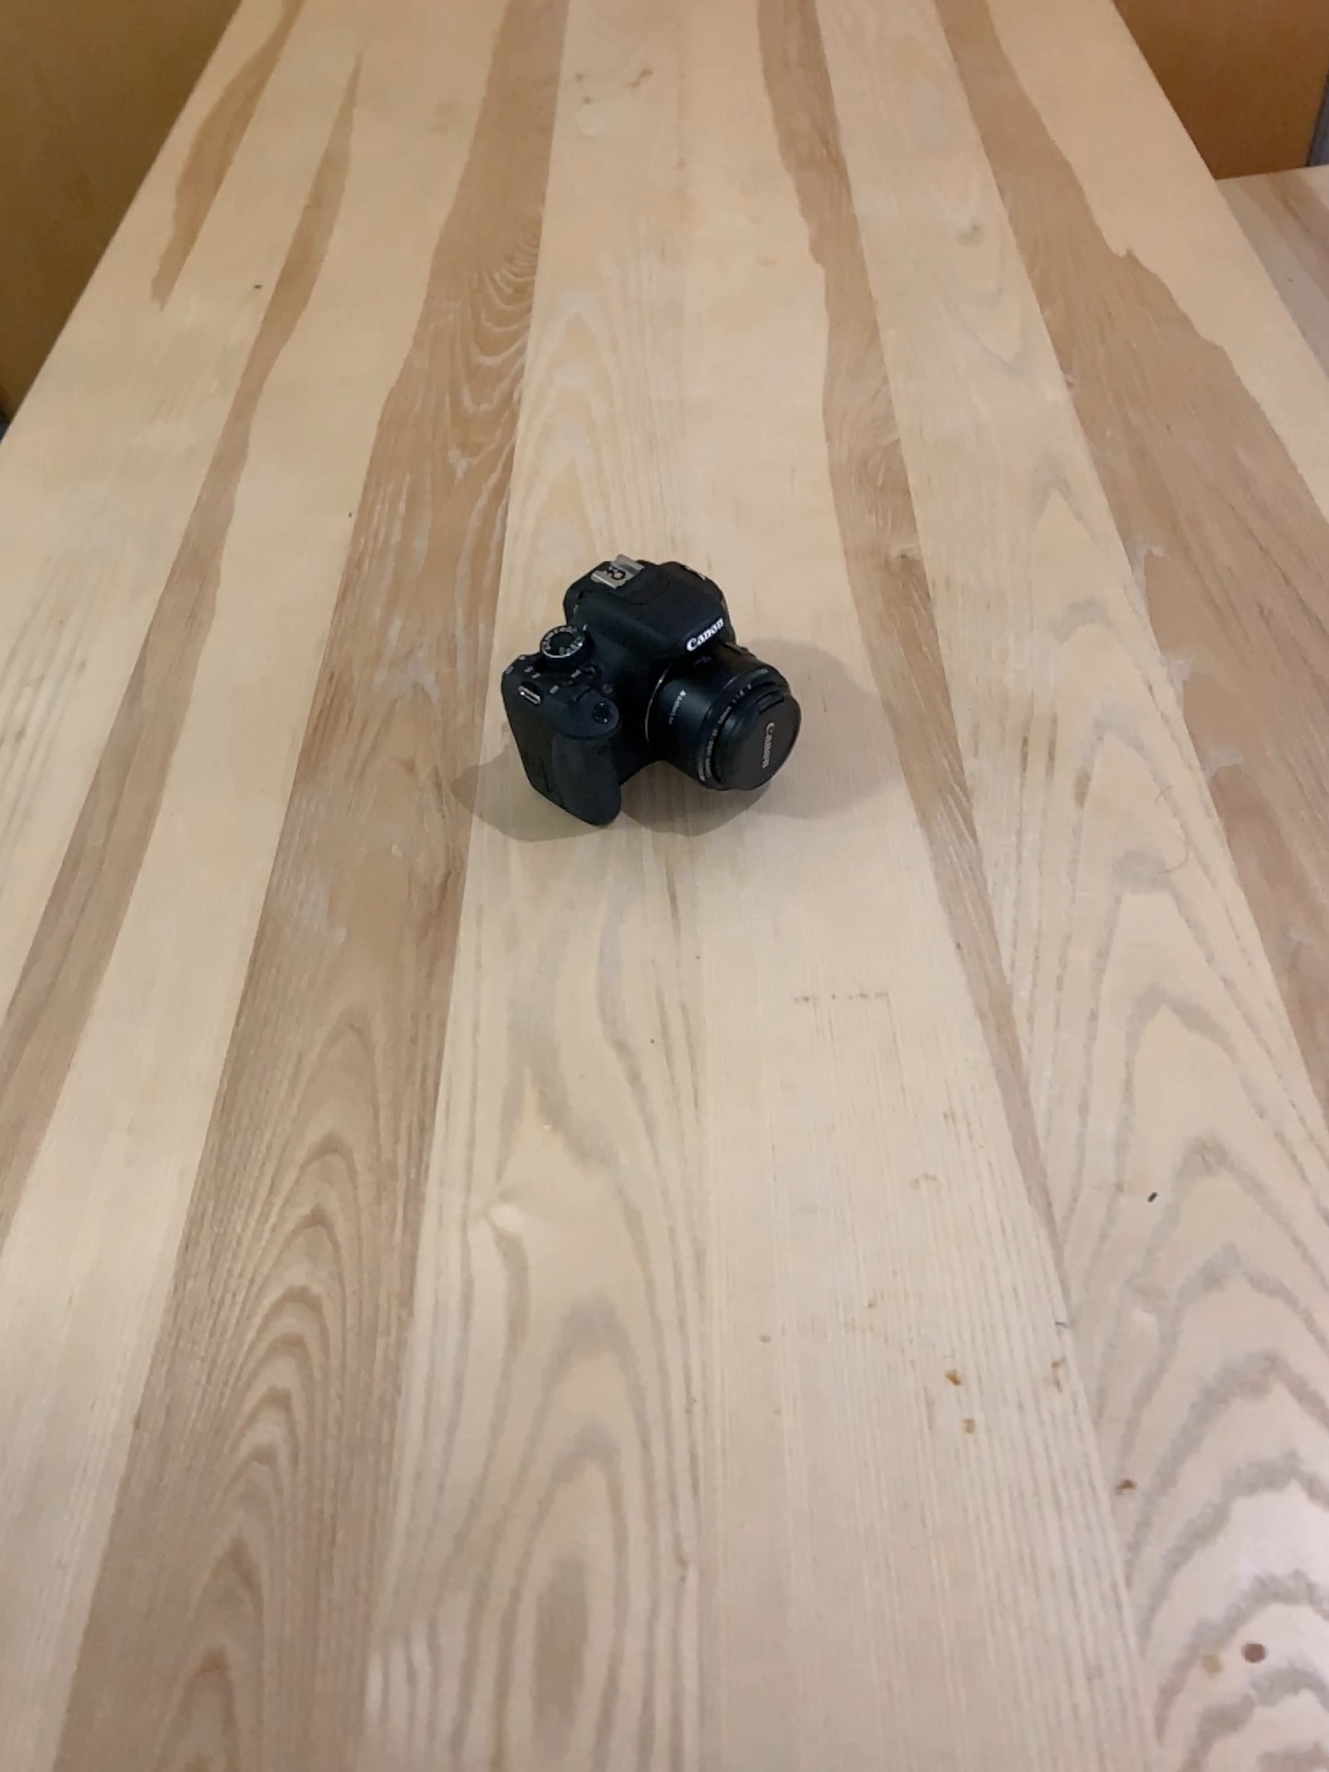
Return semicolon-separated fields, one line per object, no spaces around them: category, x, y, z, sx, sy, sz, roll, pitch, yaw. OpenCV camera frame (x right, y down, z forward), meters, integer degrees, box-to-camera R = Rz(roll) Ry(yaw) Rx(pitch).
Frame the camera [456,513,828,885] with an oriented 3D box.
camera;-0.007;-0.098;0.688;0.127;0.089;0.127;34;62;30
